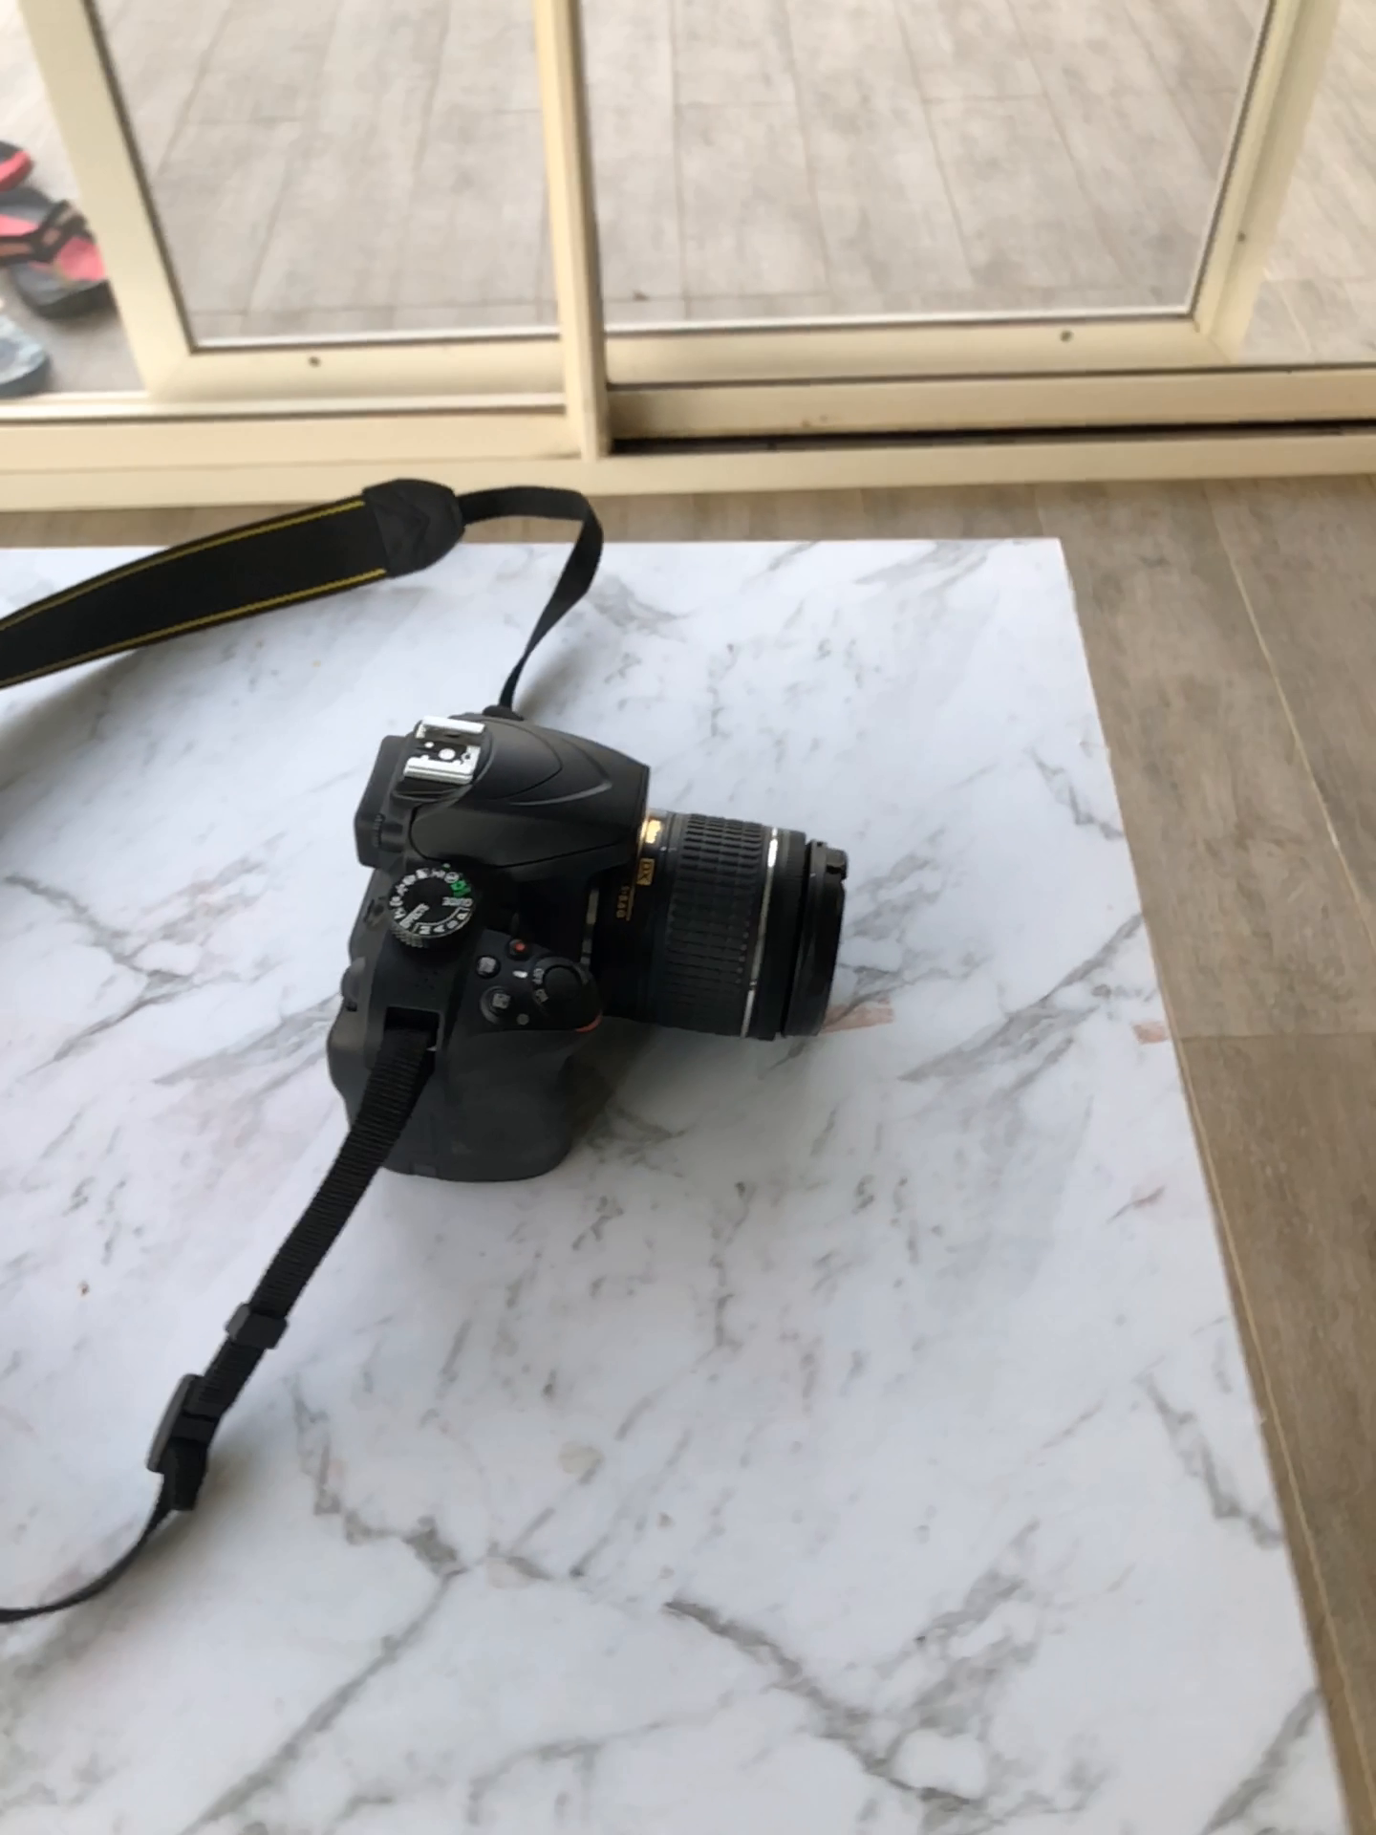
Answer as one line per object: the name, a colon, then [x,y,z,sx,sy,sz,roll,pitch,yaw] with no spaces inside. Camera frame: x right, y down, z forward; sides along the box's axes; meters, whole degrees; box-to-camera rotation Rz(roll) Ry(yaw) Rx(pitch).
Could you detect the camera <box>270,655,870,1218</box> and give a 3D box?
camera: [-0.025,0.003,0.426,0.138,0.076,0.122,7,53,3]
